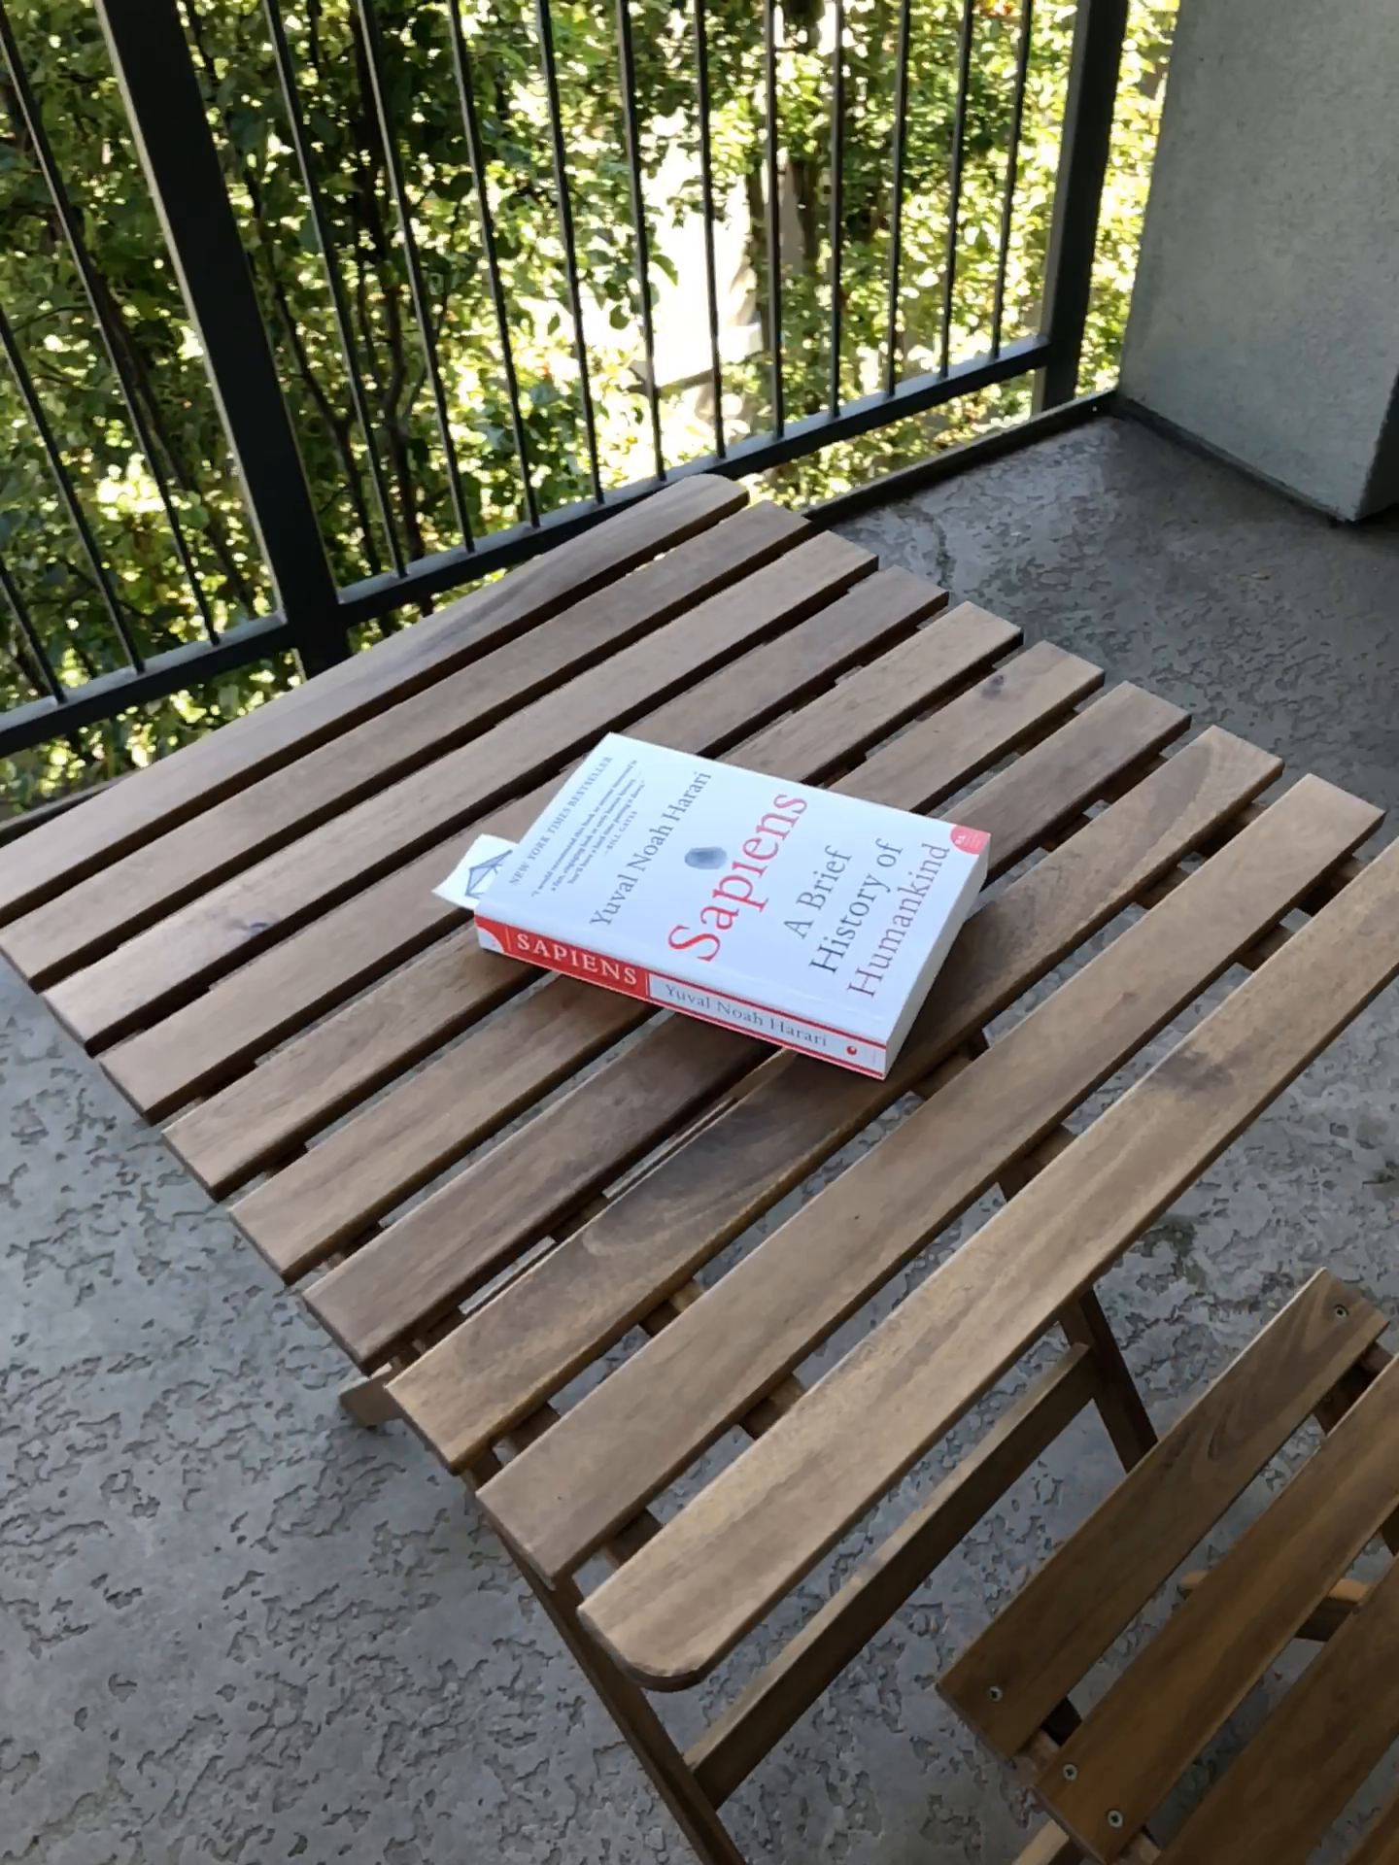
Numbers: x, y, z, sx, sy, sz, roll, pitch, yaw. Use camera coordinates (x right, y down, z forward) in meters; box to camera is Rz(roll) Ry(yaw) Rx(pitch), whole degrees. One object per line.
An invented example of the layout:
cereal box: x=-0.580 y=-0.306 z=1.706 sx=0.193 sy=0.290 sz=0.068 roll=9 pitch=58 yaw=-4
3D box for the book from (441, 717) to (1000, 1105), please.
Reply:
book: x=0.013 y=-0.020 z=0.803 sx=0.240 sy=0.040 sz=0.160 roll=17 pitch=50 yaw=19
